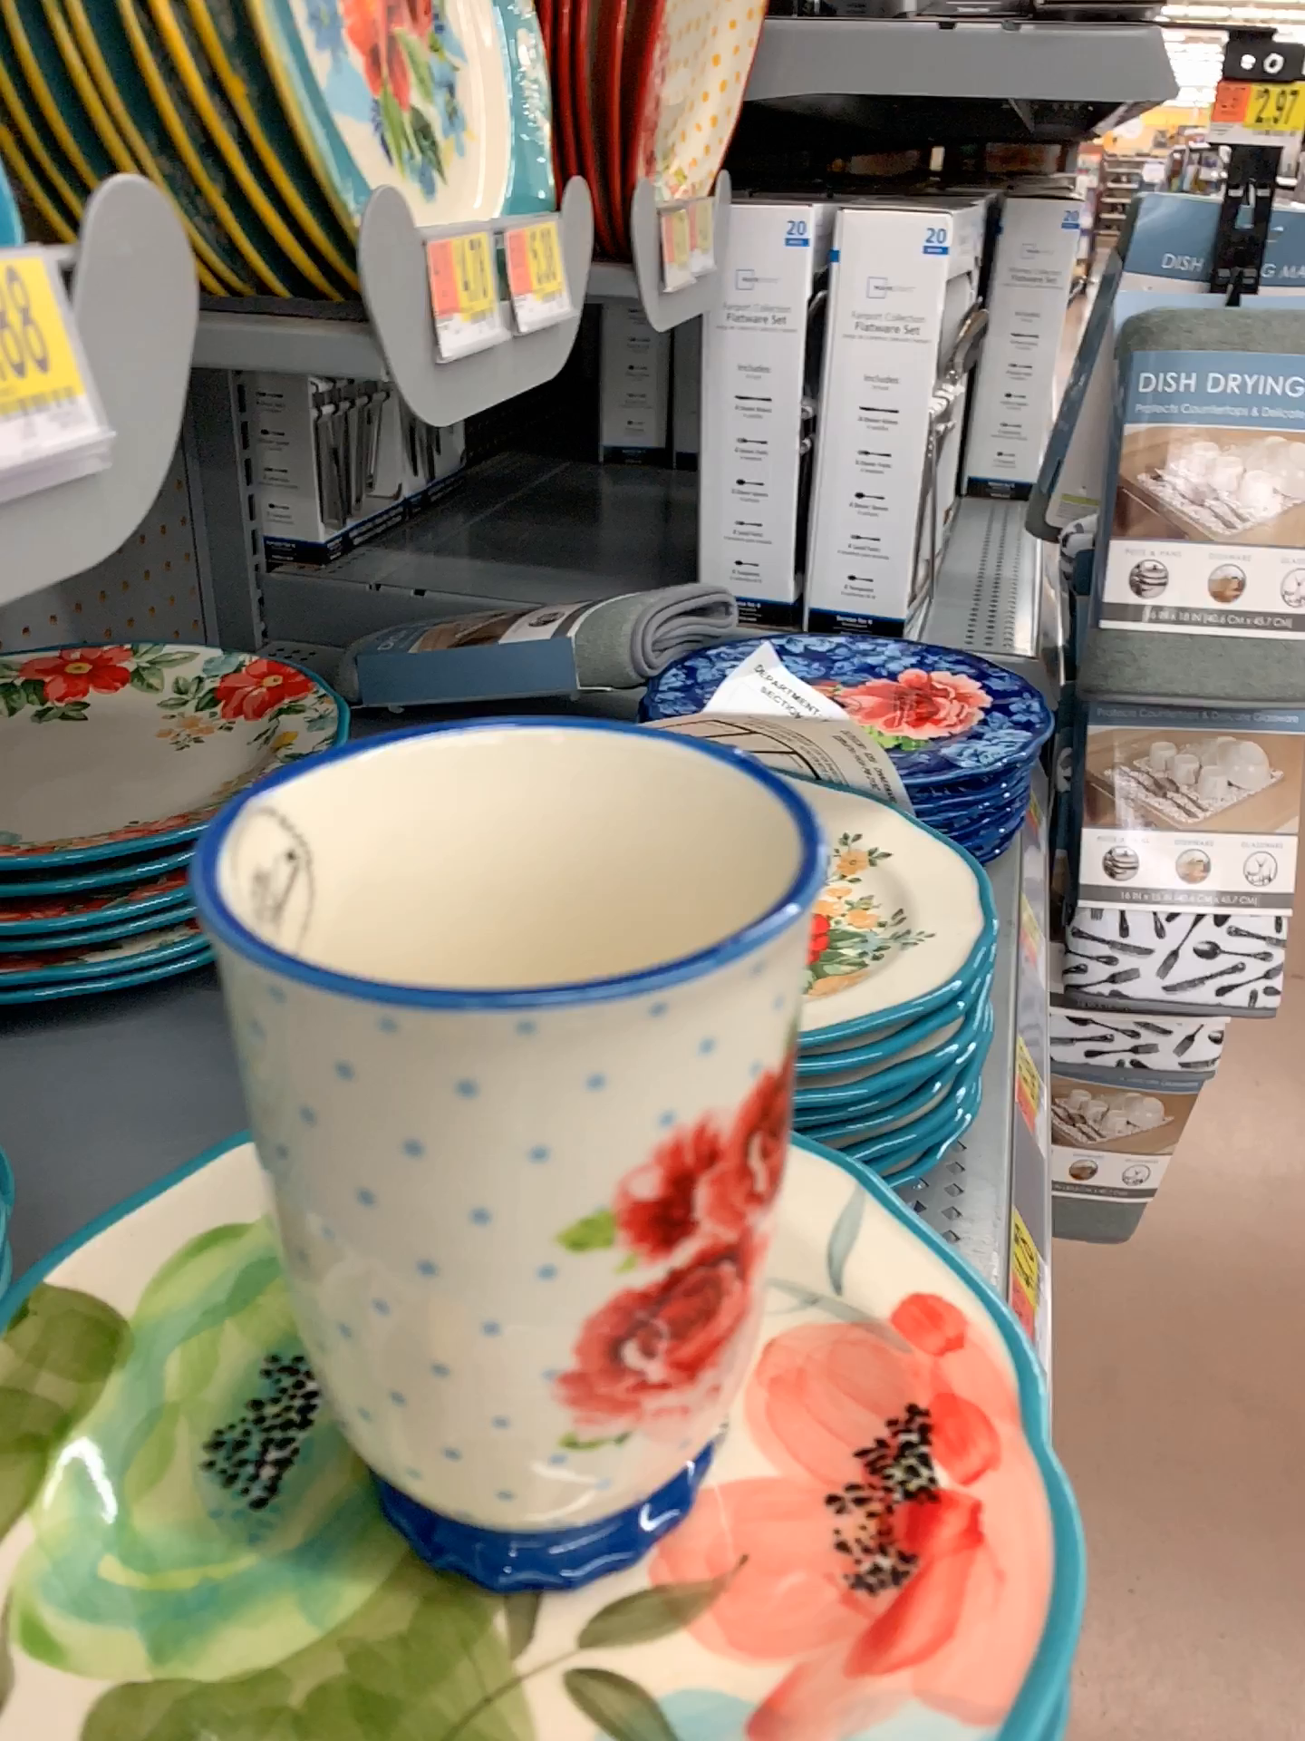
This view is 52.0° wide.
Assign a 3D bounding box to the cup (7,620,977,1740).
[{"bbox_3d":[-0.014,0.044,0.232,0.090,0.129,0.130,15,31,22],"label":"cup"}]
